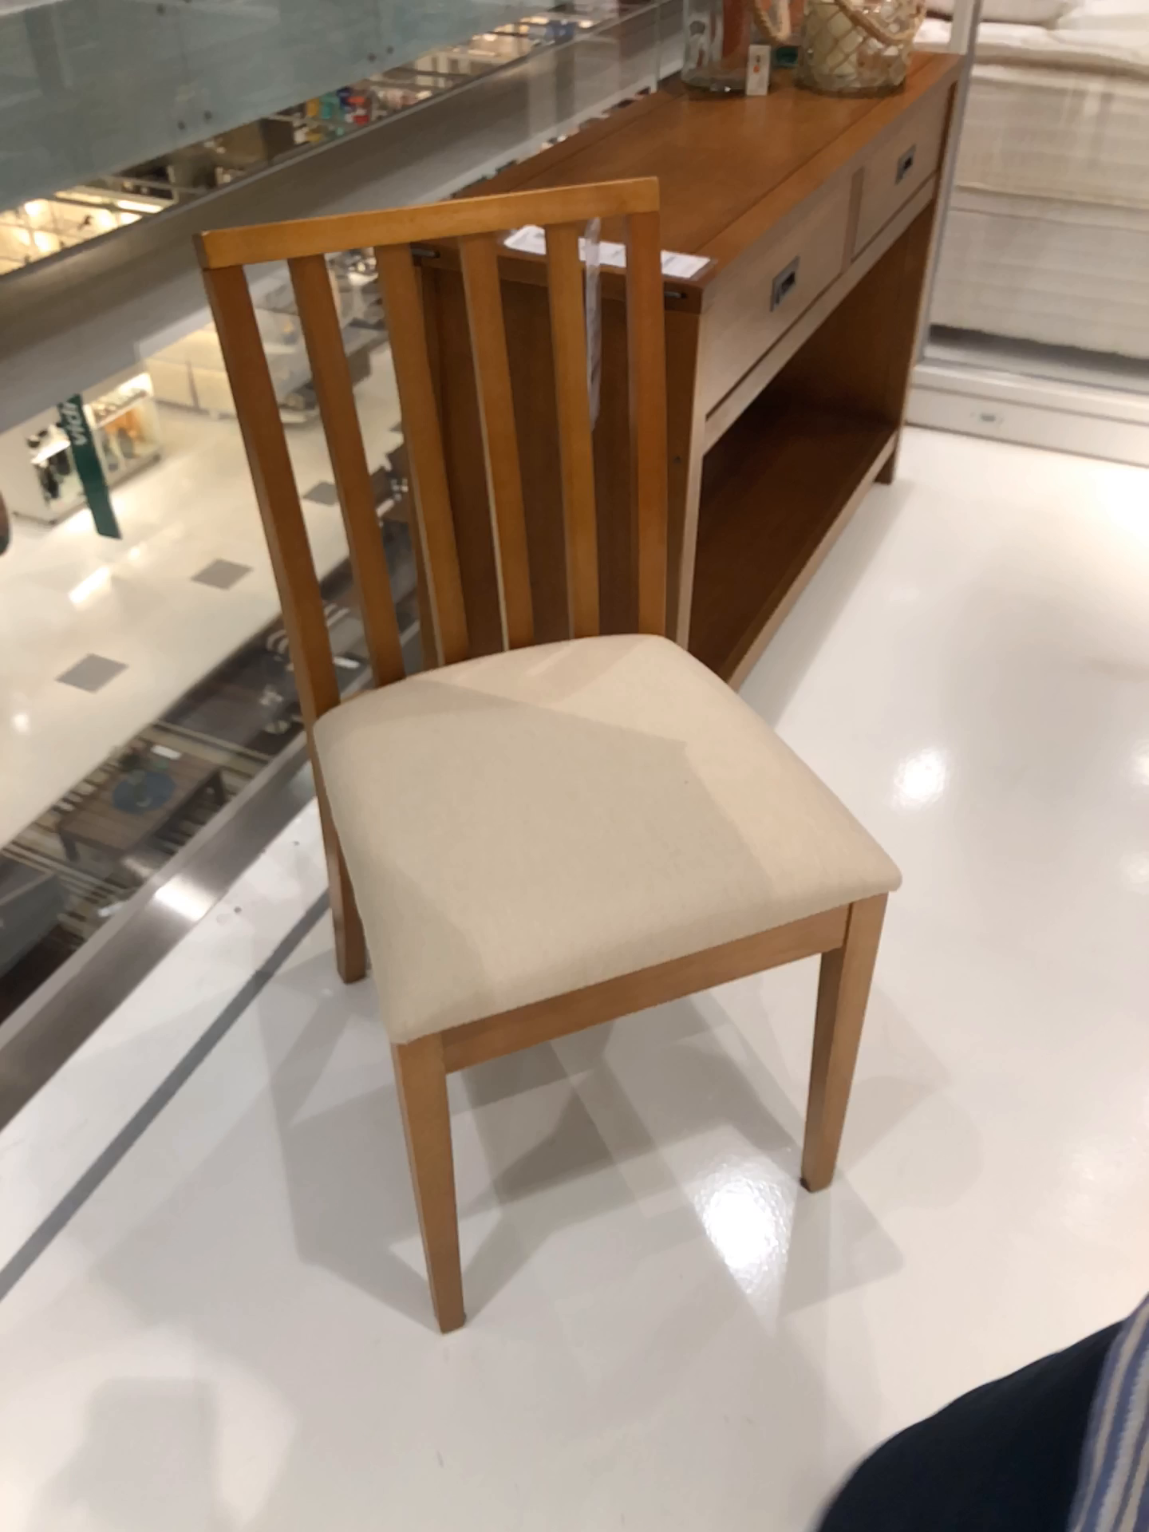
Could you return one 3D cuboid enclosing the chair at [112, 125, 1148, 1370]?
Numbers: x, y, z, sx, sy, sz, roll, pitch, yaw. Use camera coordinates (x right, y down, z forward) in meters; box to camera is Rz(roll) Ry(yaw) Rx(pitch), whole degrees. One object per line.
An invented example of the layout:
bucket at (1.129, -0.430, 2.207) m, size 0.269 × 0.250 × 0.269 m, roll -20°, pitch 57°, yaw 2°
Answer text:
chair at (0.002, -0.025, 1.129) m, size 0.541 × 0.834 × 0.553 m, roll -15°, pitch 42°, yaw -18°
